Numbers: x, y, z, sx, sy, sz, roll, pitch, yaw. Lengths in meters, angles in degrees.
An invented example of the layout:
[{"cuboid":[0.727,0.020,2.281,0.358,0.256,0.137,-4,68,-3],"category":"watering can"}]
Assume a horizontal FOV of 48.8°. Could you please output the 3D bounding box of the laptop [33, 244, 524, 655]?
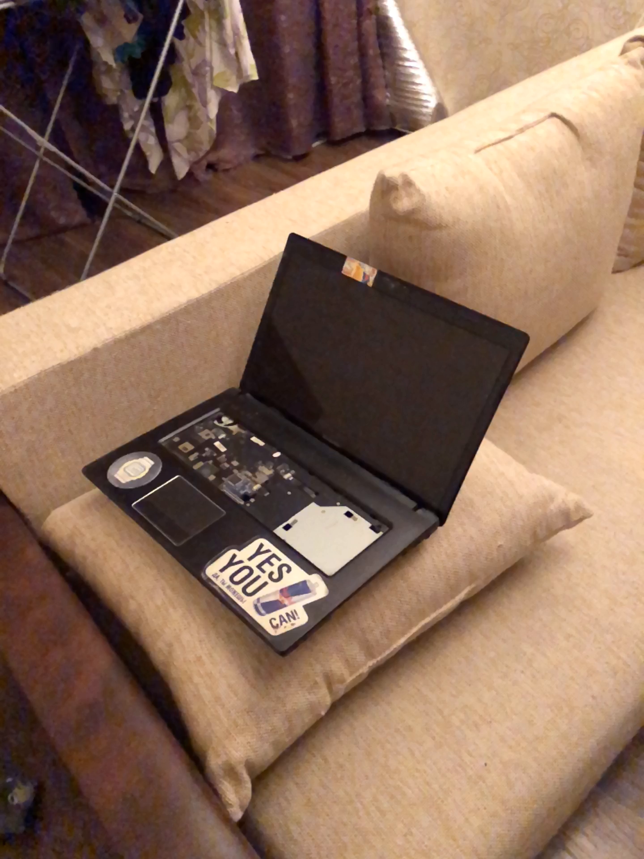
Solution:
[{"cuboid":[-0.049,-0.018,0.911,0.409,0.198,0.413,-34,50,-30],"category":"laptop"}]
